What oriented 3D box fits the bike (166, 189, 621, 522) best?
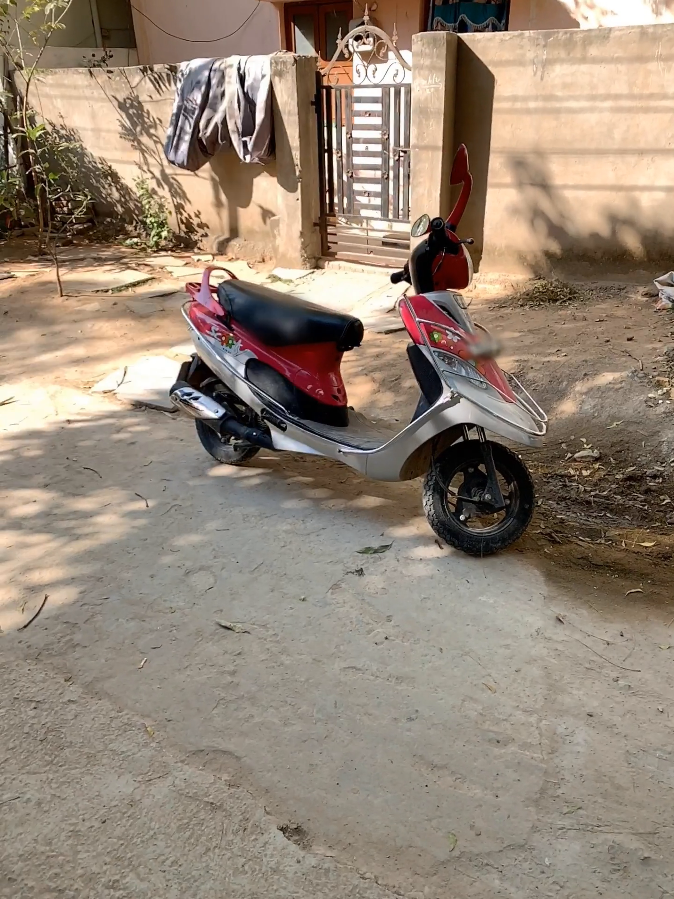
[{"bbox_3d":[0.157,-0.436,2.683,1.495,1.037,0.485,13,31,28],"label":"bike"}]
